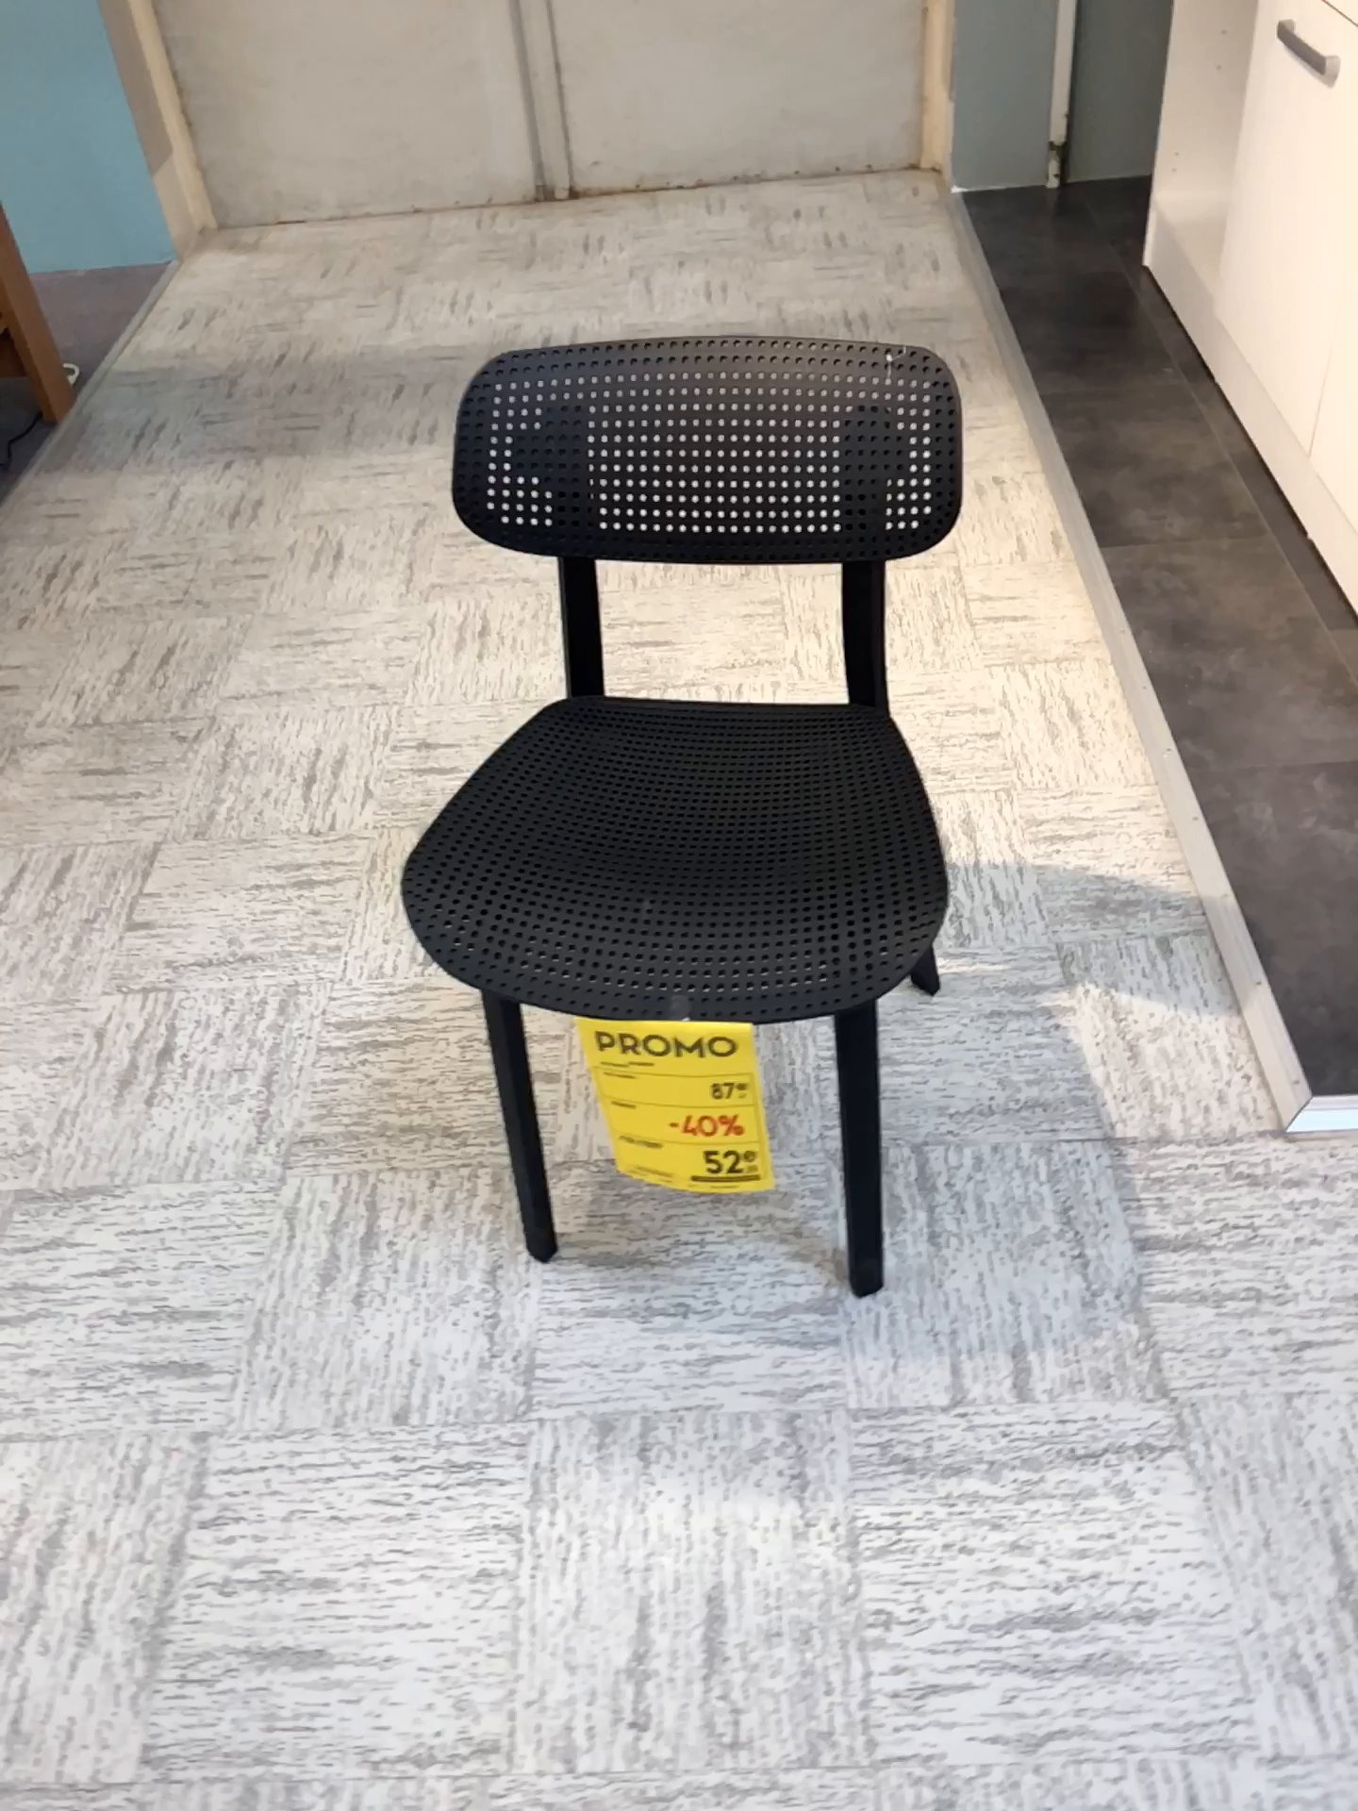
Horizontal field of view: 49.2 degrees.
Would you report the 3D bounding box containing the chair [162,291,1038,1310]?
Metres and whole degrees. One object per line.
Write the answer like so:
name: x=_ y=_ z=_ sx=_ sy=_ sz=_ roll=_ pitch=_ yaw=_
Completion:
chair: x=0.013 y=-0.089 z=1.307 sx=0.540 sy=0.686 sz=0.523 roll=3 pitch=43 yaw=11
